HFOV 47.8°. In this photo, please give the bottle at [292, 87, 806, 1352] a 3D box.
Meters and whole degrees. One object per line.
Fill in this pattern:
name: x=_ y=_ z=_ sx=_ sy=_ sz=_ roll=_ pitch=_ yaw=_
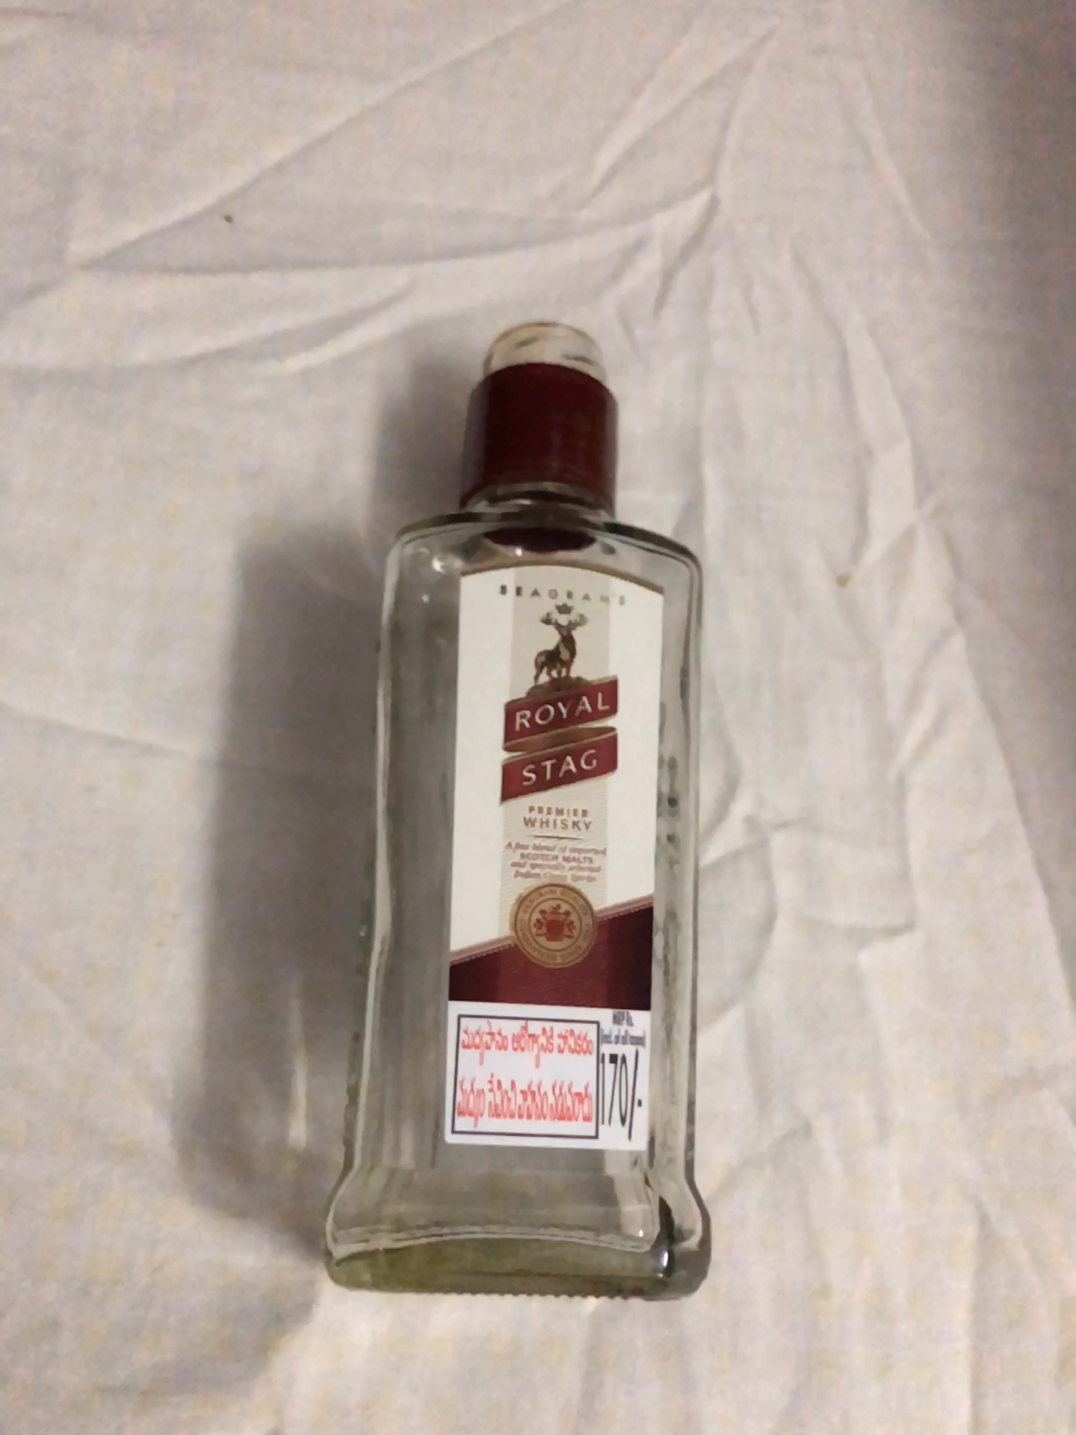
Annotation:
bottle: x=0.002 y=-0.005 z=0.192 sx=0.060 sy=0.050 sz=0.180 roll=5 pitch=71 yaw=-7
